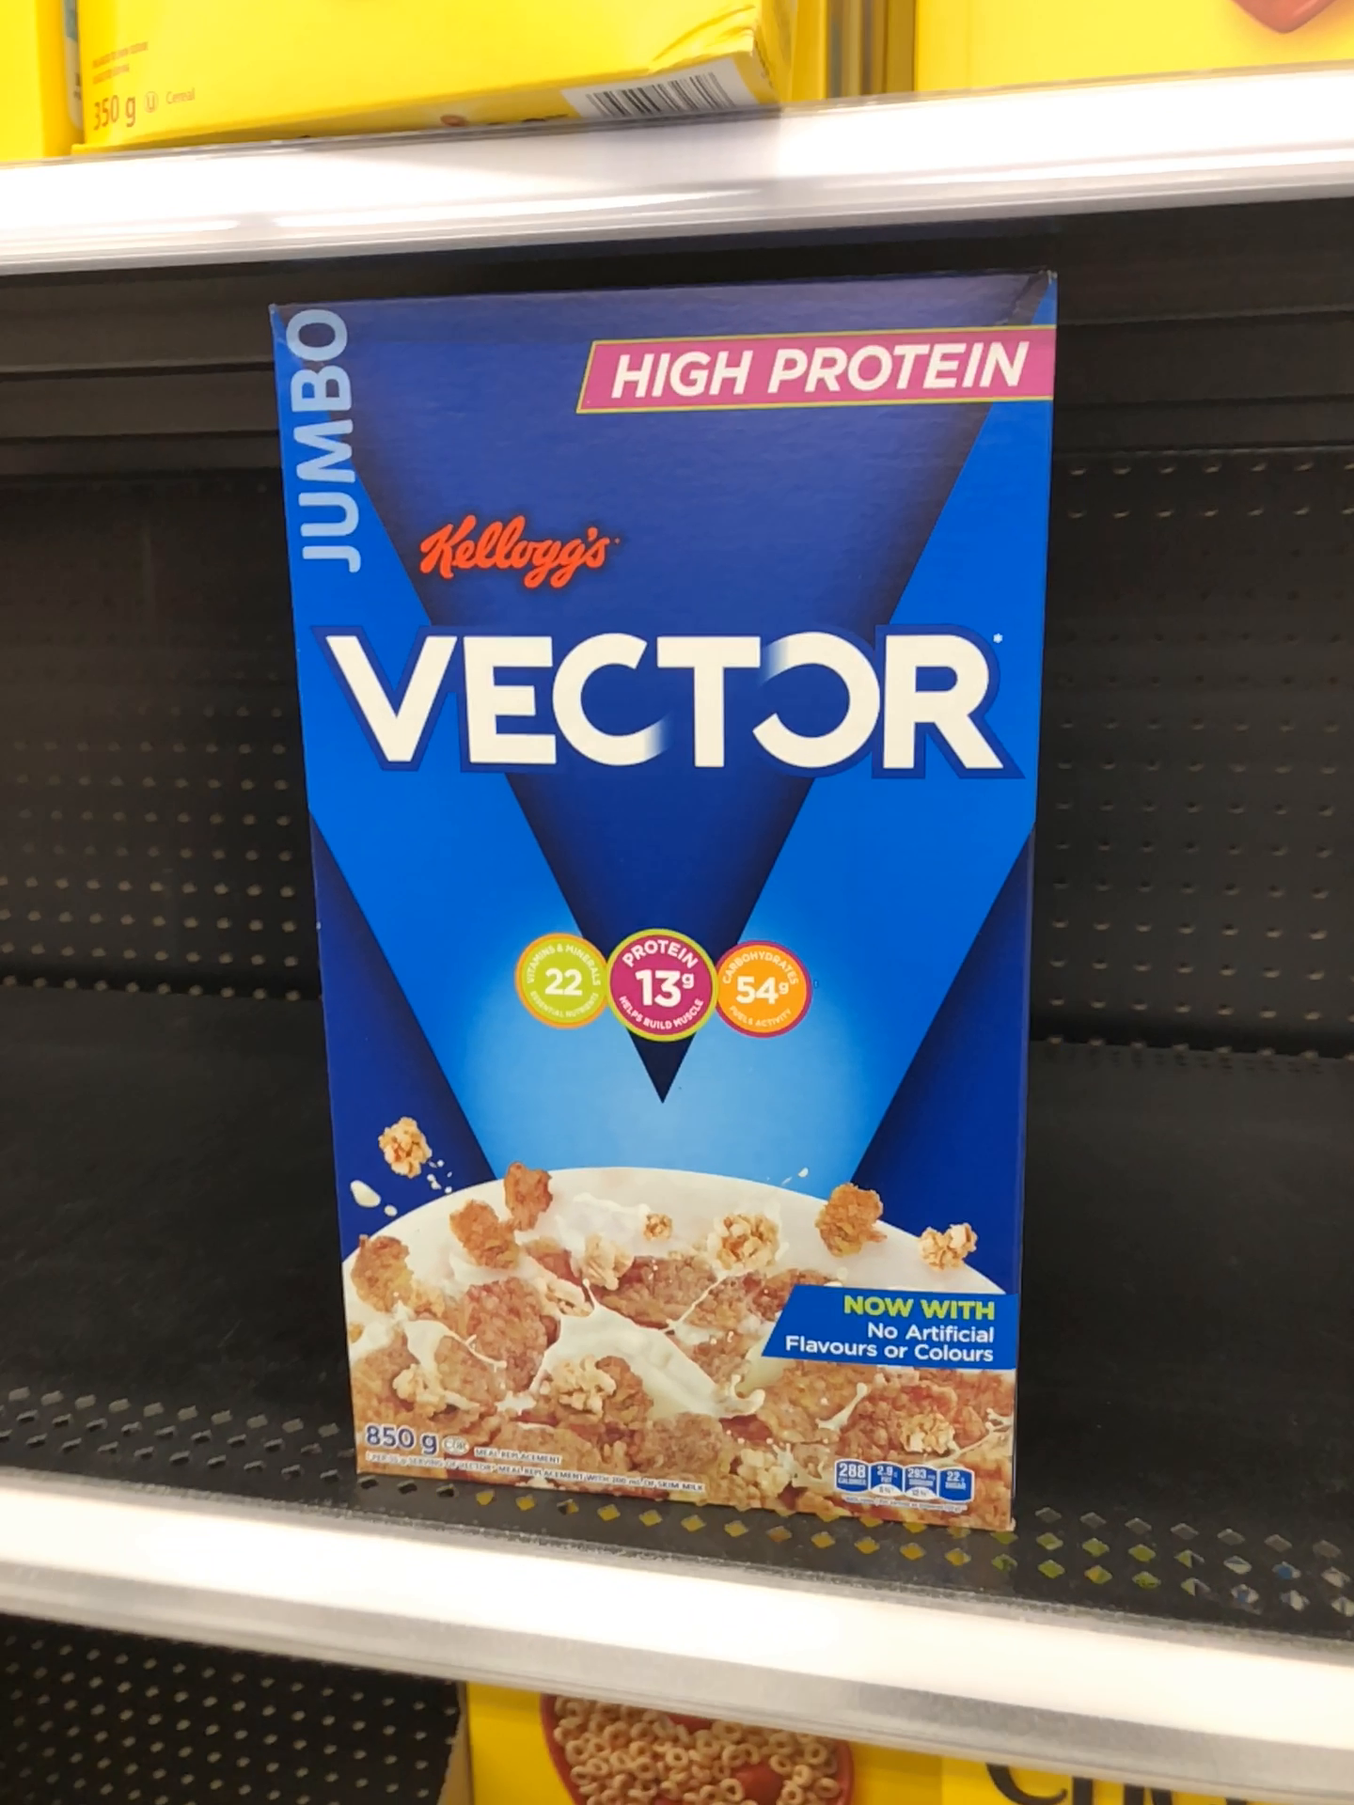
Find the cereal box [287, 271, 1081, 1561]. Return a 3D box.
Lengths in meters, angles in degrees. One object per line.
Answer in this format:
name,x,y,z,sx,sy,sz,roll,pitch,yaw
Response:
cereal box,0.007,0.008,0.448,0.200,0.348,0.080,1,13,10
